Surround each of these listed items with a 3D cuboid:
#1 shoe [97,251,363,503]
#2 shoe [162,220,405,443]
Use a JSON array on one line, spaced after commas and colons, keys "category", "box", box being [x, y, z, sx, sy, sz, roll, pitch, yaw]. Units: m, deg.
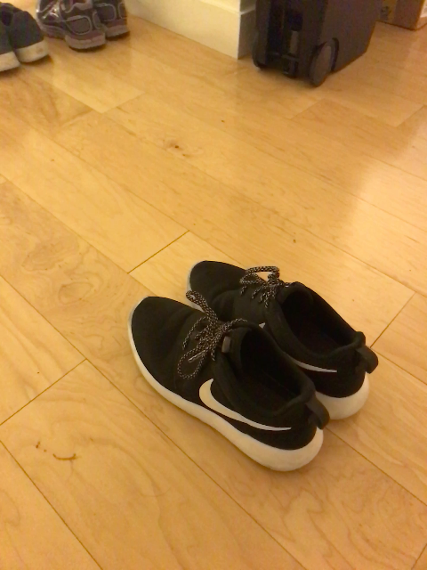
[{"category": "shoe", "box": [0.007, 0.088, 0.515, 0.271, 0.089, 0.111, 35, 56, 26]}, {"category": "shoe", "box": [0.071, 0.044, 0.568, 0.271, 0.089, 0.110, 37, 57, 27]}]
